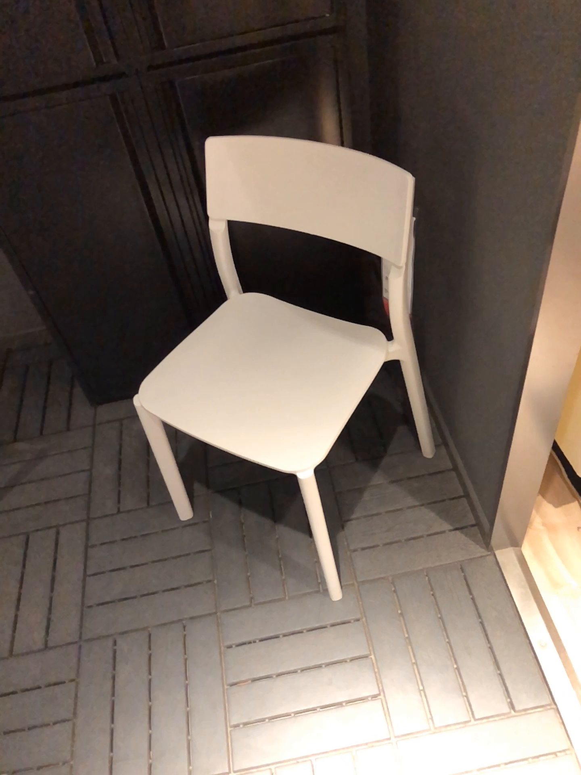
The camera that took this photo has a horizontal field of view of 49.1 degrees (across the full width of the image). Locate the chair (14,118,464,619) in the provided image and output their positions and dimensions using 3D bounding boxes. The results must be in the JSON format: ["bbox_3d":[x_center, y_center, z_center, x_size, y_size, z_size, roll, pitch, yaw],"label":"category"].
[{"bbox_3d":[-0.026,-0.023,1.208,0.501,0.706,0.472,21,55,26],"label":"chair"}]
